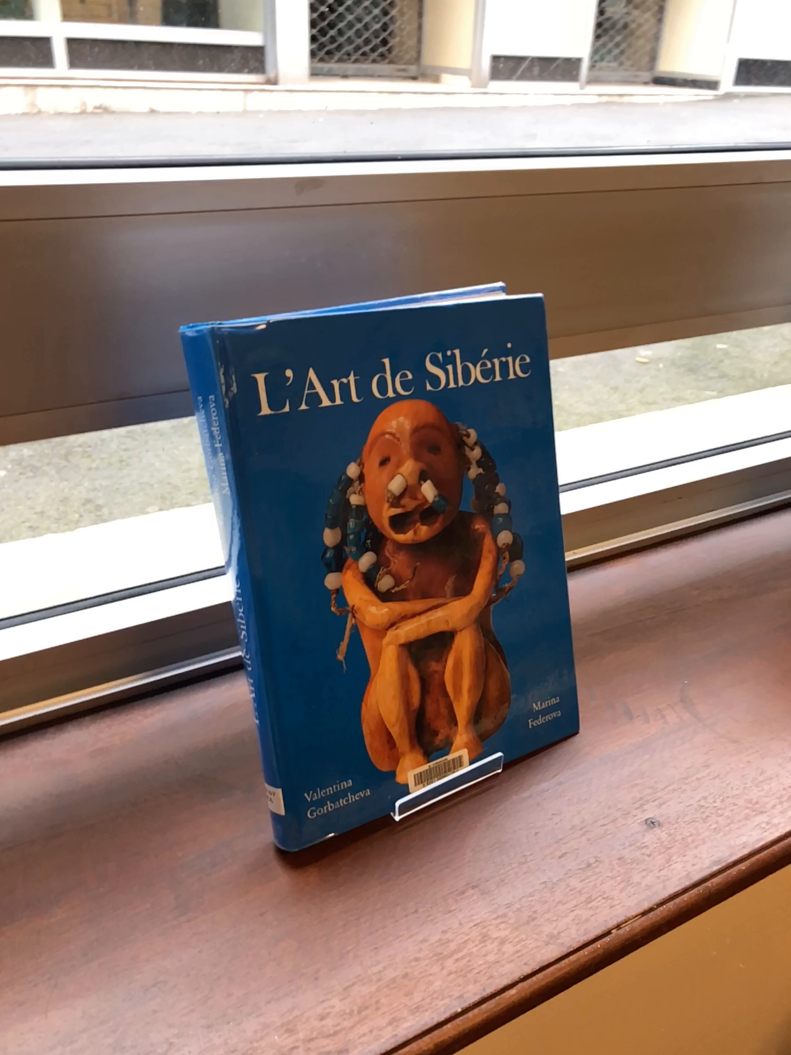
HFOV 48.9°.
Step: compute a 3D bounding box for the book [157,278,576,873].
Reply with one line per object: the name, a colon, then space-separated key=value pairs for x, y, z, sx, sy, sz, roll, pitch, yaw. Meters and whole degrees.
book: x=-0.001 y=0.022 z=0.599 sx=0.255 sy=0.349 sz=0.044 roll=-14 pitch=14 yaw=-28
